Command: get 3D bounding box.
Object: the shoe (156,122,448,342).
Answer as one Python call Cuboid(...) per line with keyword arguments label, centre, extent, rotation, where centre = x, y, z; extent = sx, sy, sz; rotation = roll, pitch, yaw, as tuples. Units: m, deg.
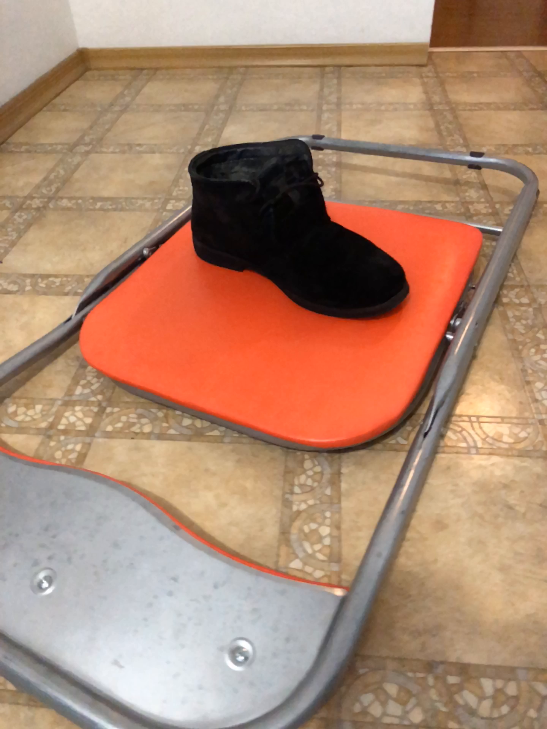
Cuboid(label="shoe", centre=(0.023, -0.149, 0.630), extent=(0.271, 0.129, 0.111), rotation=(23, 47, 27))
